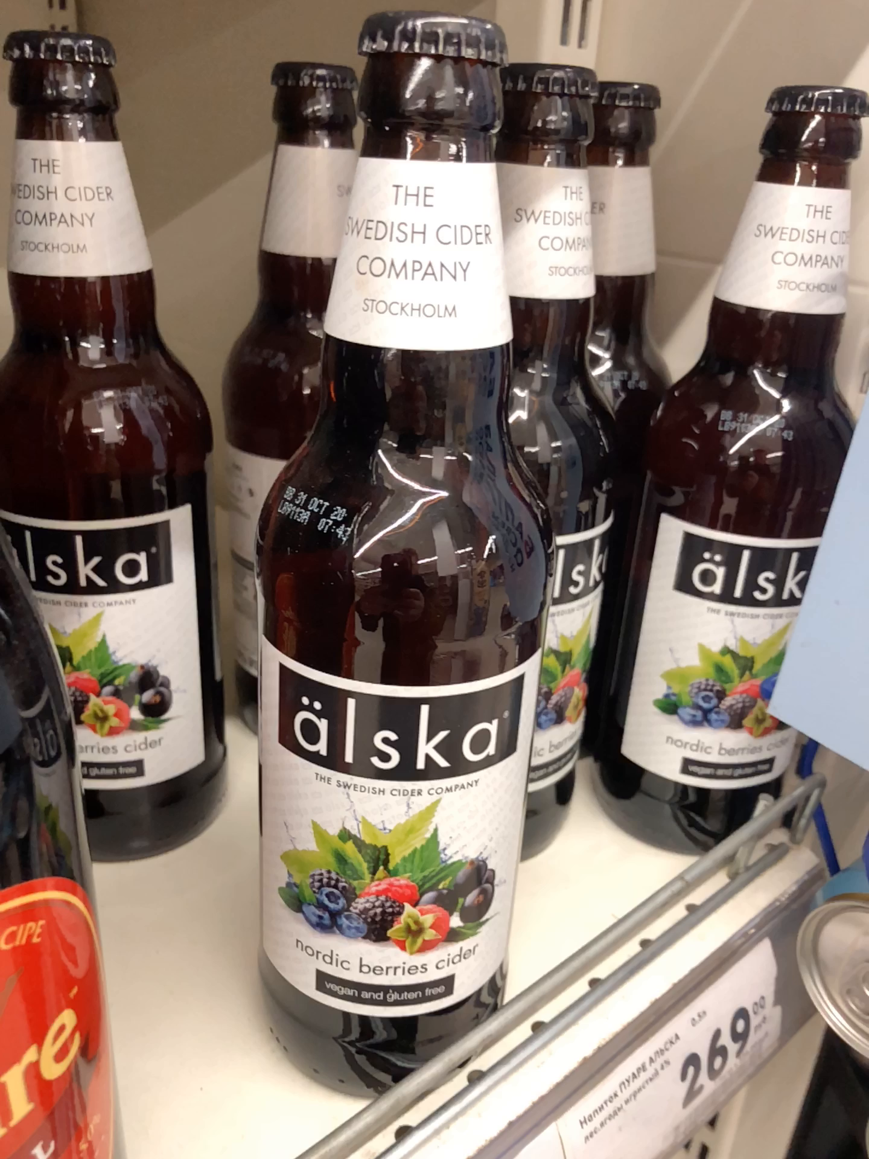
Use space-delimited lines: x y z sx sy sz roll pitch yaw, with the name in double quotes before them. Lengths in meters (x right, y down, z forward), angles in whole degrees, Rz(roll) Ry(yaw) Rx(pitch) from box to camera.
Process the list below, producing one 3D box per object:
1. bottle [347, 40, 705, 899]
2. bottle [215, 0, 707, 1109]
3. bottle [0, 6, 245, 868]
"bottle" 0.021 -0.028 0.308 0.063 0.244 0.070 21 29 35
"bottle" -0.004 0.006 0.212 0.070 0.229 0.063 1 24 -4
"bottle" -0.102 -0.032 0.297 0.075 0.235 0.077 3 24 -1
